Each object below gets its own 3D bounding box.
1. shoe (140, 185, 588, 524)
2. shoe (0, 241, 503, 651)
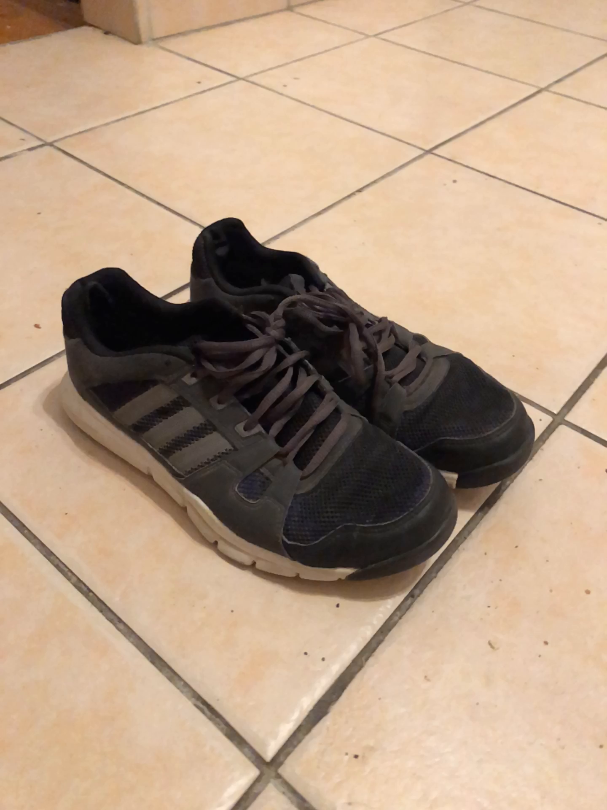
[{"bbox_3d":[0.034,-0.050,0.486,0.281,0.099,0.121,26,48,21],"label":"shoe"},{"bbox_3d":[-0.041,0.008,0.417,0.281,0.099,0.111,26,44,22],"label":"shoe"}]
